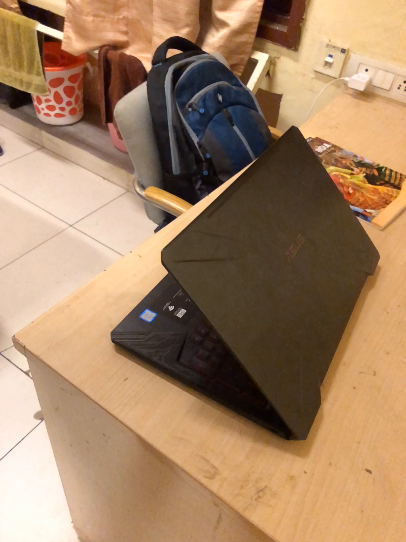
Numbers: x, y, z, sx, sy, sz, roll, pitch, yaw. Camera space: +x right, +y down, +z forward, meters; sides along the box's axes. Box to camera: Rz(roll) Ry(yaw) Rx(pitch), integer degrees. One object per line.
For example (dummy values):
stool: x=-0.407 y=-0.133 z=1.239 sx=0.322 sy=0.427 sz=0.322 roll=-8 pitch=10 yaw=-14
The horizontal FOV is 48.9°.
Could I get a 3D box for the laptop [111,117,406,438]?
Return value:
laptop: x=0.097 y=-0.029 z=0.604 sx=0.252 sy=0.173 sz=0.372 roll=25 pitch=45 yaw=17
